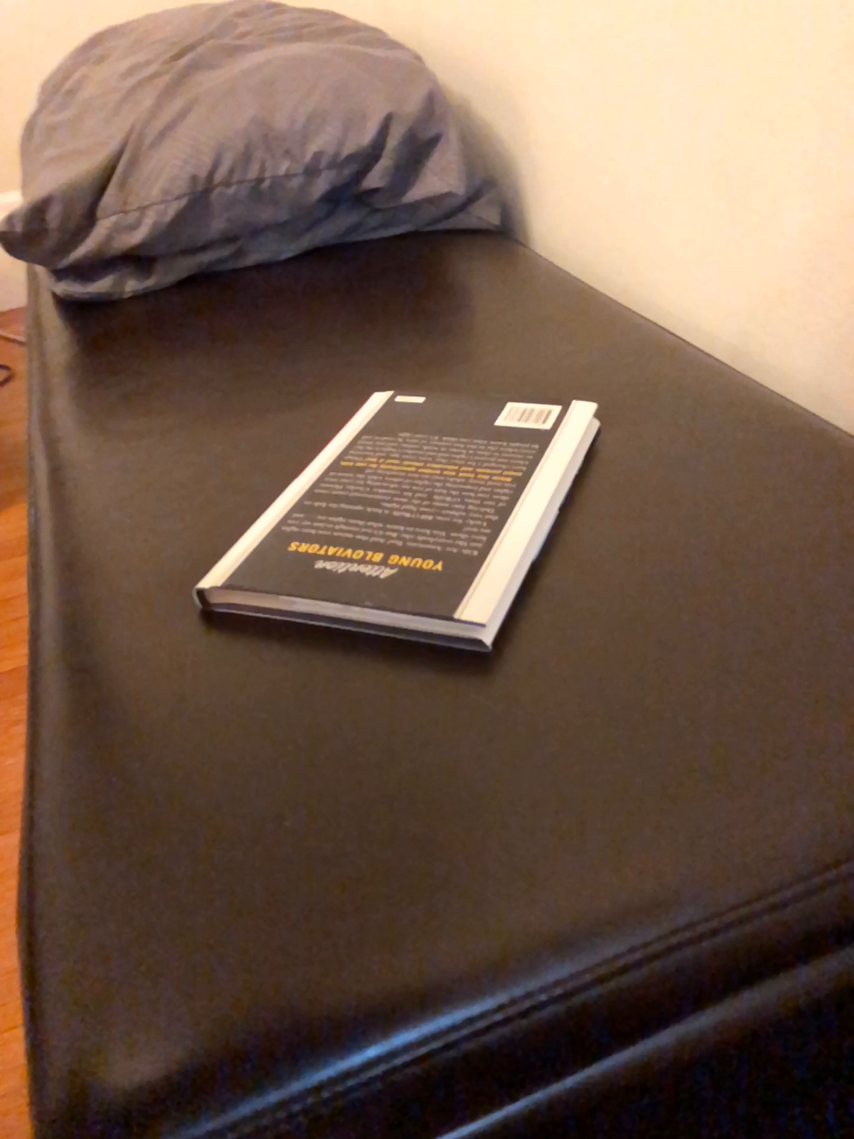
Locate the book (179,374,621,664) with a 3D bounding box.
[{"bbox_3d":[0.001,-0.044,0.497,0.160,0.020,0.231,7,37,20],"label":"book"}]
